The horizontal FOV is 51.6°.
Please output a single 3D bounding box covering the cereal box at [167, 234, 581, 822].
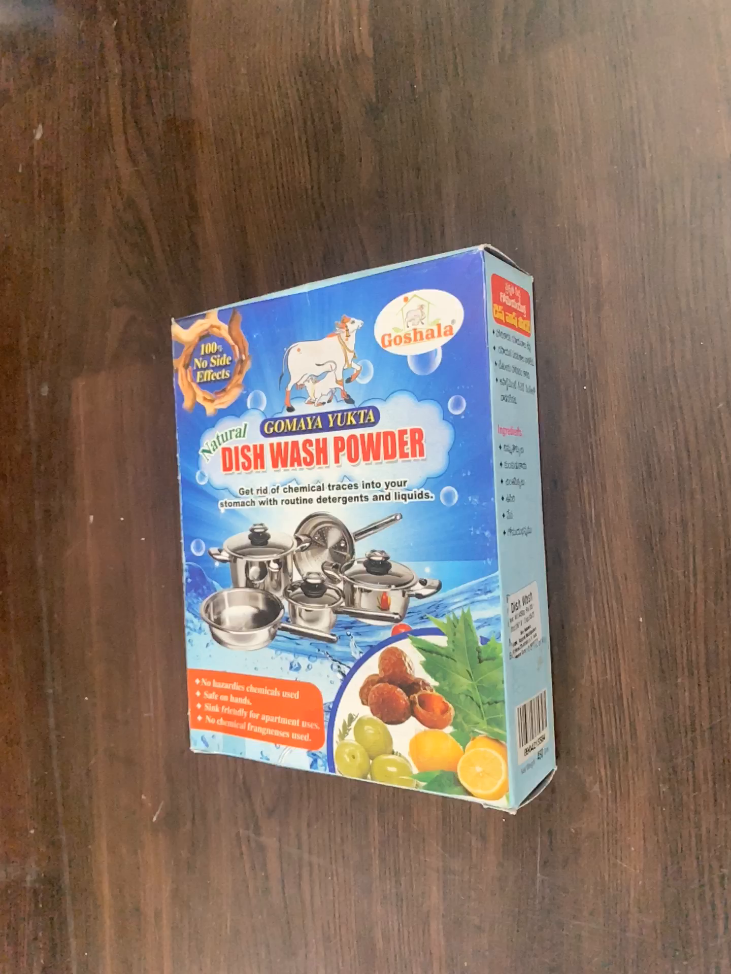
[{"bbox_3d":[-0.002,0.015,0.282,0.141,0.060,0.170,-3,87,34],"label":"cereal box"}]
